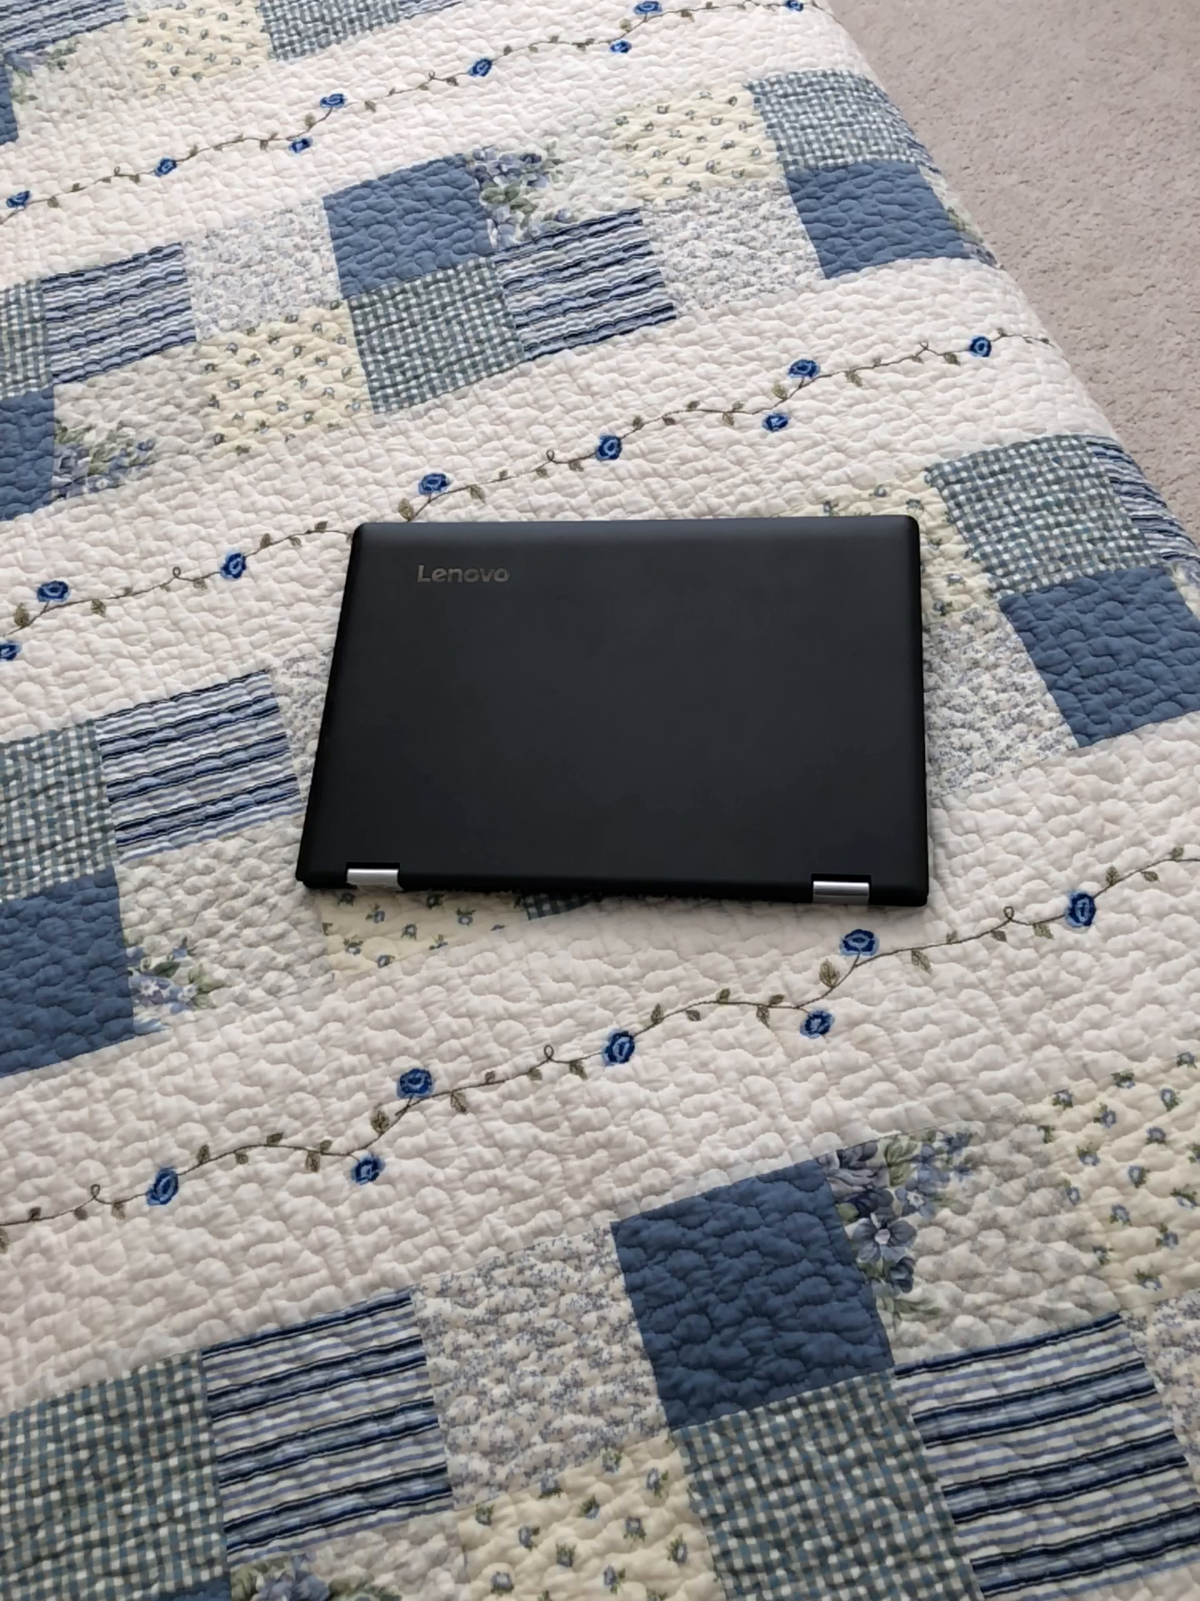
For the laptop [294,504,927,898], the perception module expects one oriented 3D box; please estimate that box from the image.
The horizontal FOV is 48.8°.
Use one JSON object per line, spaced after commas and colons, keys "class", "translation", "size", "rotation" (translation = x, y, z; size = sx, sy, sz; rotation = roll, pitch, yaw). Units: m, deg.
{"class": "laptop", "translation": [0.008, -0.059, 0.708], "size": [0.320, 0.008, 0.224], "rotation": [1, 68, 8]}
